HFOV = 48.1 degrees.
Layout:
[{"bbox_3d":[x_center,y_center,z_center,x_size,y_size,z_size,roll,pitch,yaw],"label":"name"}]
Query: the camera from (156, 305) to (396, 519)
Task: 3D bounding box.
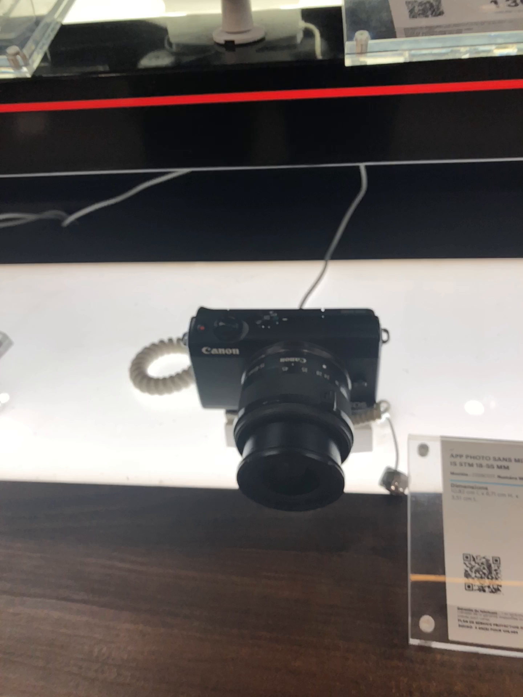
[{"bbox_3d":[0.013,0.032,0.331,0.112,0.071,0.094,0,40,8],"label":"camera"}]
